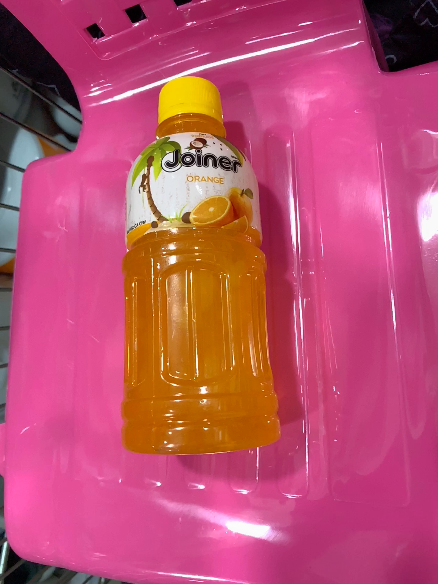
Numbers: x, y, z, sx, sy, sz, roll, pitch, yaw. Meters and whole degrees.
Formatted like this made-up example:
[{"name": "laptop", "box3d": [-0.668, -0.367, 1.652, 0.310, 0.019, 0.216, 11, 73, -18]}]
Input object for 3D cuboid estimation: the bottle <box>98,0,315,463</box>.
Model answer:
[{"name": "bottle", "box3d": [-0.008, -0.024, 0.194, 0.070, 0.060, 0.170, -3, 81, 0]}]
